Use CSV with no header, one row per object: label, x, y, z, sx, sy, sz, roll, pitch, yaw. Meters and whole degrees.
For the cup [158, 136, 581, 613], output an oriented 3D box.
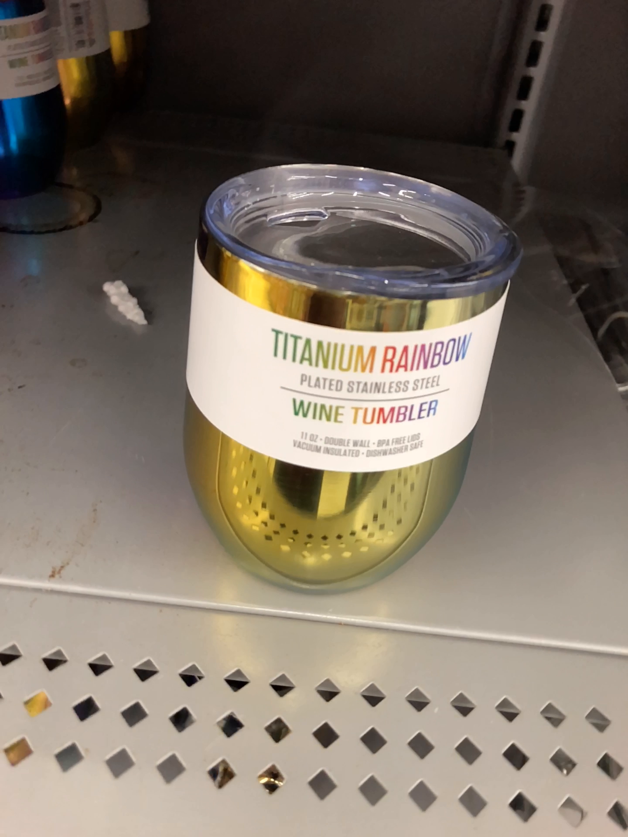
cup,0.007,-0.010,0.206,0.086,0.108,0.076,5,40,-3
